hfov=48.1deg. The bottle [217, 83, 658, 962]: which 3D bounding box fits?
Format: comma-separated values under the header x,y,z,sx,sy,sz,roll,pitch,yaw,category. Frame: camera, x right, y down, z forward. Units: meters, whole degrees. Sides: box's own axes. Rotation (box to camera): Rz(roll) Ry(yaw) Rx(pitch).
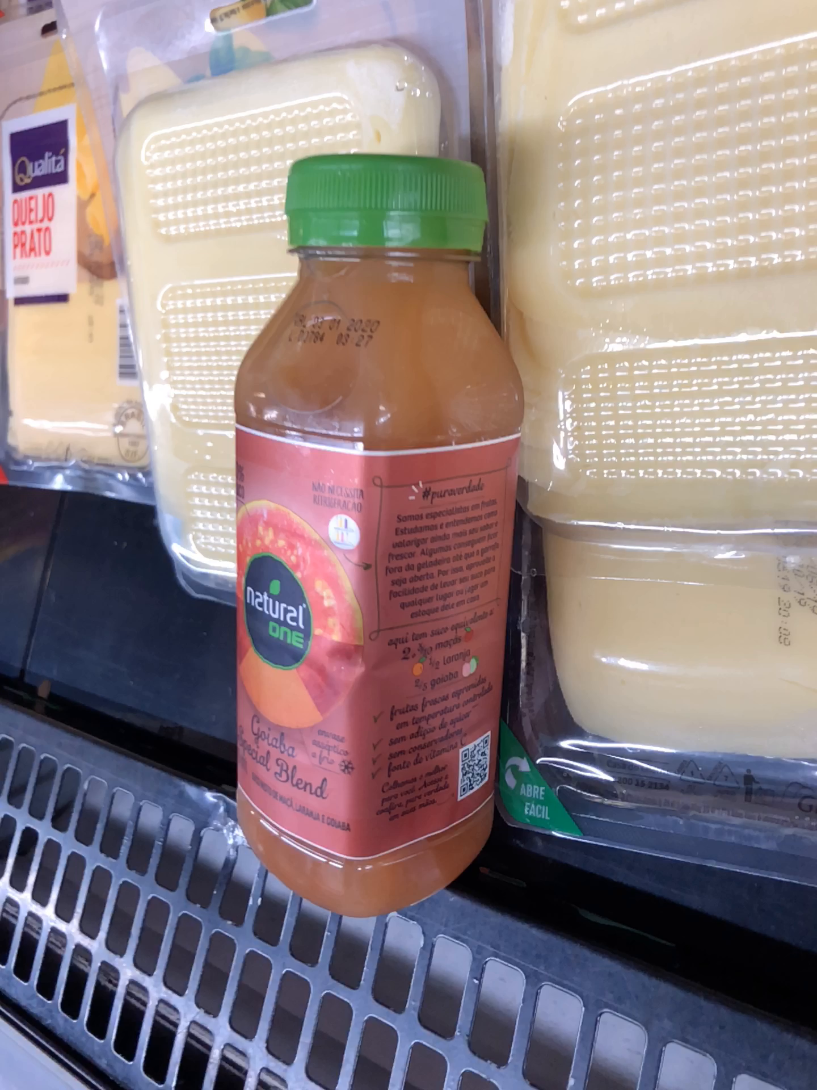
x,y,z,sx,sy,sz,roll,pitch,yaw,category
0.005,-0.005,0.229,0.060,0.070,0.180,15,103,37,bottle
